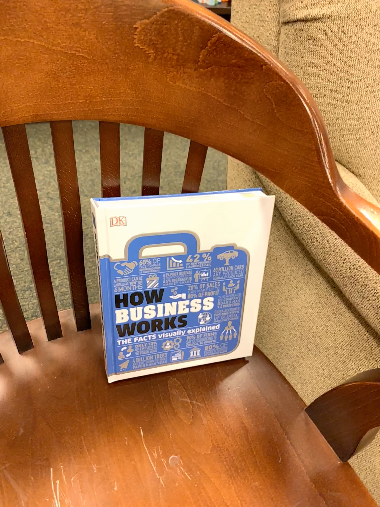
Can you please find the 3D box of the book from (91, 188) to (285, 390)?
[{"bbox_3d":[-0.006,0.047,0.488,0.211,0.246,0.039,-5,30,-17],"label":"book"}]
